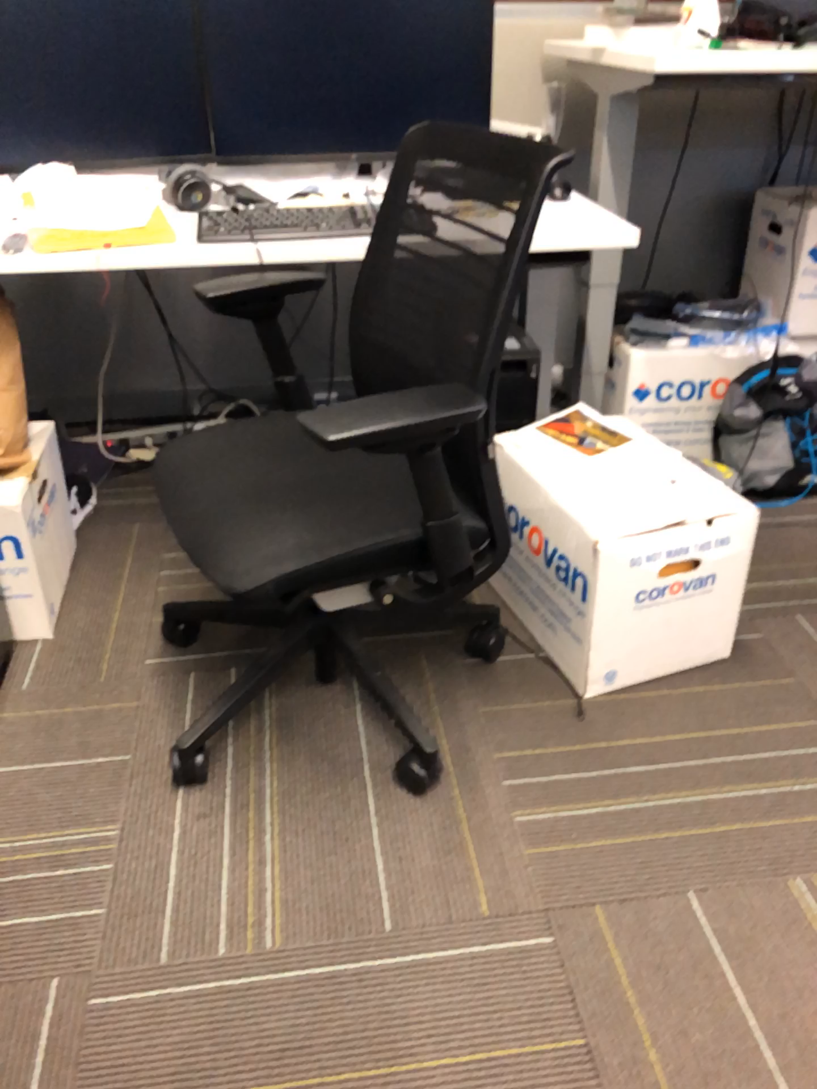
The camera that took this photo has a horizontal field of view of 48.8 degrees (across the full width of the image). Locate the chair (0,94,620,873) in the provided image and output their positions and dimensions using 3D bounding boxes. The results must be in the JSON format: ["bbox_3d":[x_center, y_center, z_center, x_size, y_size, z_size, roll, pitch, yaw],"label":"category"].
[{"bbox_3d":[-0.172,-0.159,1.435,0.611,0.935,0.673,-16,34,-24],"label":"chair"}]
